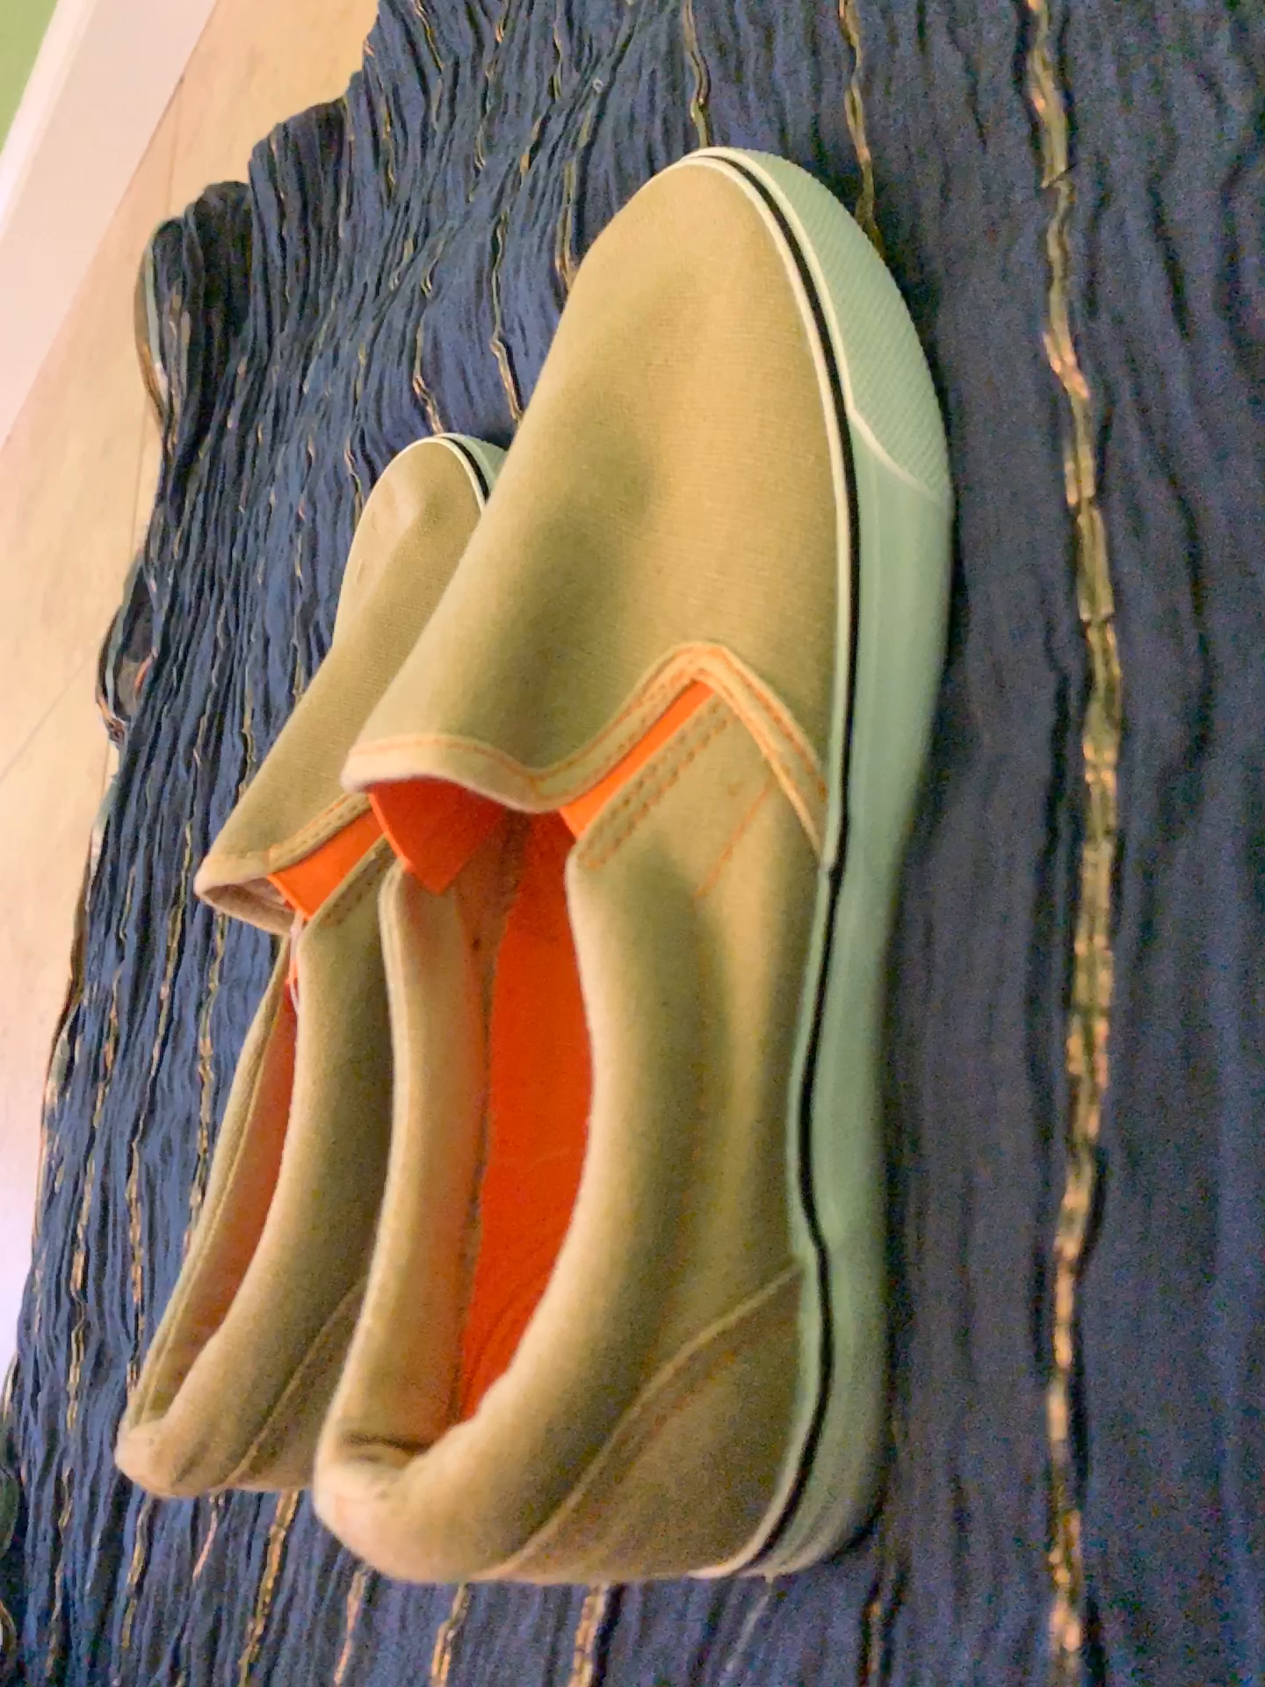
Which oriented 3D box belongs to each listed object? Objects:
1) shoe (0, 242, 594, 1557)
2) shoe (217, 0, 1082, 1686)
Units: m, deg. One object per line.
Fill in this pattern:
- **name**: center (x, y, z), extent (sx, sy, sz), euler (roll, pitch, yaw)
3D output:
- **shoe**: center (-0.075, 0.009, 0.311), extent (0.096, 0.079, 0.263), euler (-20, 63, 50)
- **shoe**: center (0.002, -0.020, 0.227), extent (0.101, 0.079, 0.271), euler (-19, 63, 50)
